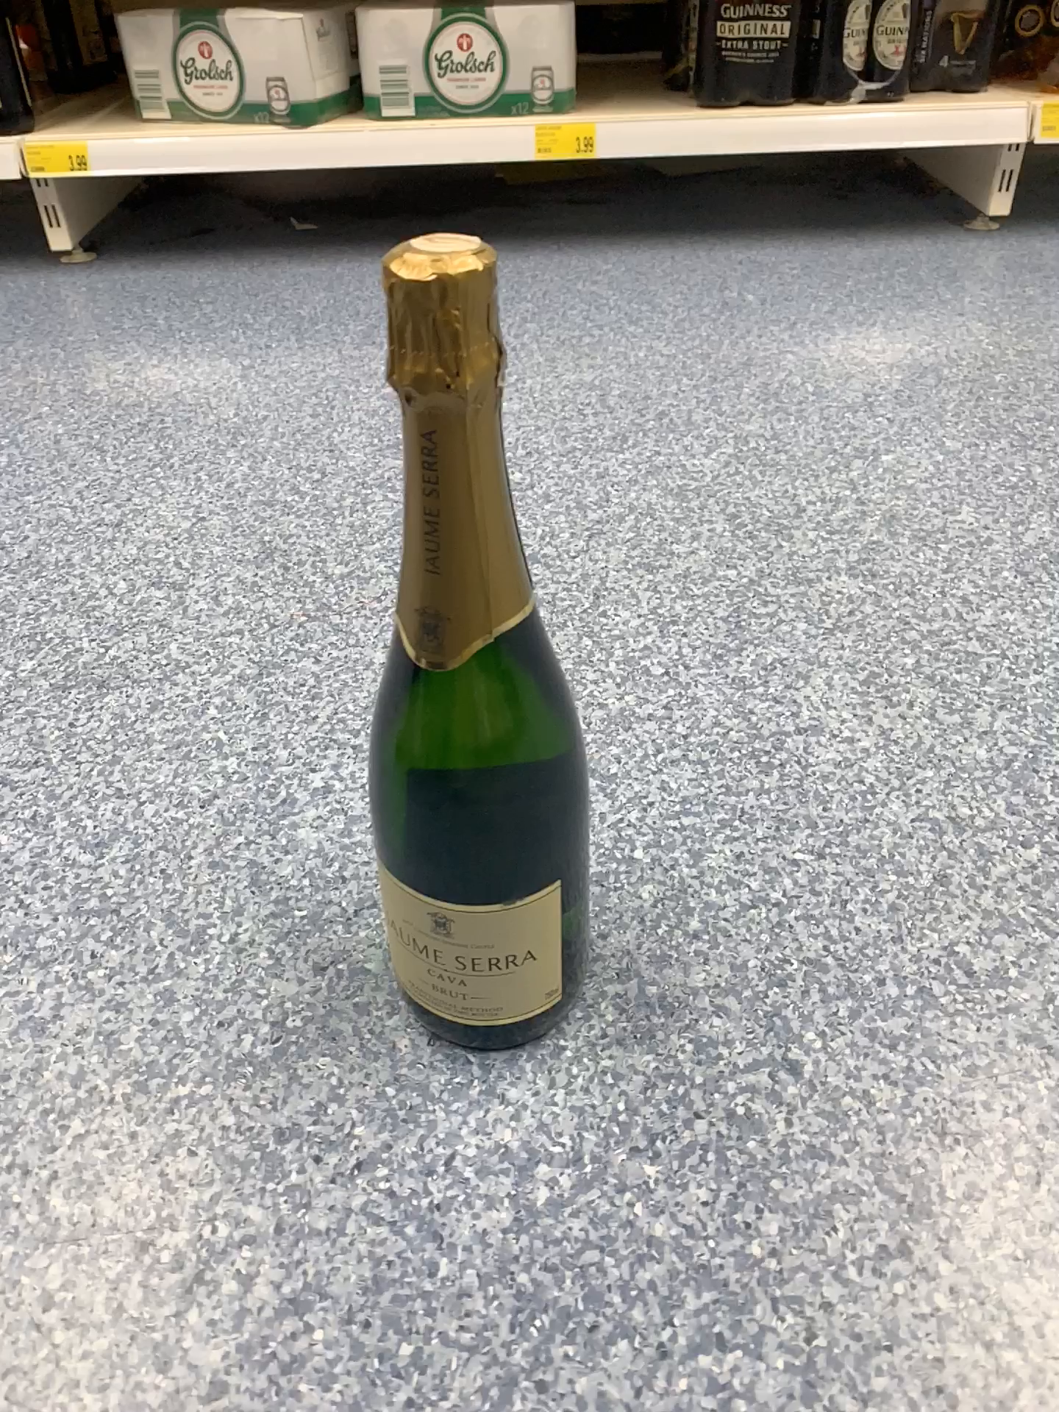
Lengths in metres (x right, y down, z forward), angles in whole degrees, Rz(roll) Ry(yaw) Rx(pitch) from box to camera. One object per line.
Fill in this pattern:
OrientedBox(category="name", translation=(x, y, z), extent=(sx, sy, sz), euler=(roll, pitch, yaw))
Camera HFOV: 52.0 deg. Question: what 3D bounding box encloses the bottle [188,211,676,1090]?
OrientedBox(category="bottle", translation=(-0.018, -0.007, 0.391), extent=(0.104, 0.291, 0.106), euler=(-1, 37, 1))
